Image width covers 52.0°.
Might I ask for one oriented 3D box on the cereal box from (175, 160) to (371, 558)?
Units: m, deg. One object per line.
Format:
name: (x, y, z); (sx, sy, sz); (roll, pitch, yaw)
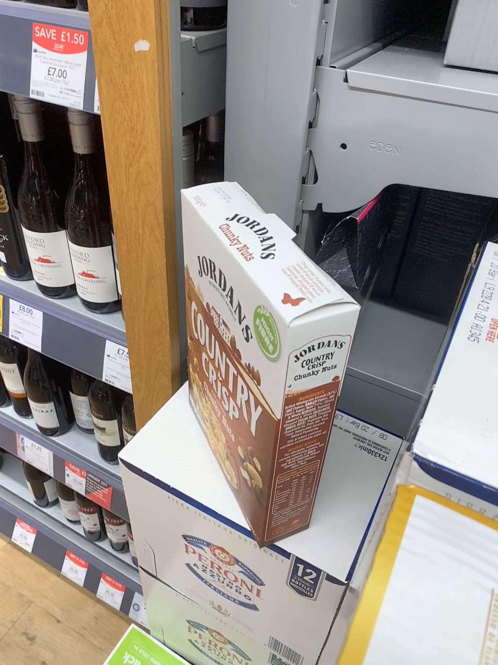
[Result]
cereal box: (-0.002, 0.024, 0.418); (0.050, 0.257, 0.192); (-14, 42, -20)
